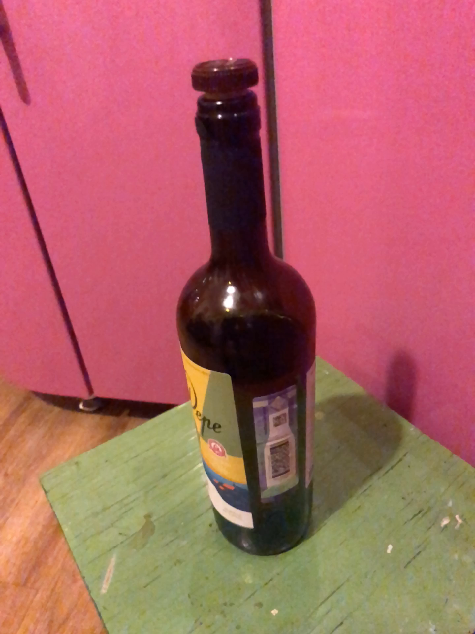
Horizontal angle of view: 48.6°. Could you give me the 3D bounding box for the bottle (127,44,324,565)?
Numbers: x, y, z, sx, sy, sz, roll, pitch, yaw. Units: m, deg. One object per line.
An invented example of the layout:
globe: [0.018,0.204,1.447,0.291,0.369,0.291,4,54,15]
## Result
bottle: [0.007,0.020,0.301,0.071,0.301,0.072,-4,34,3]
